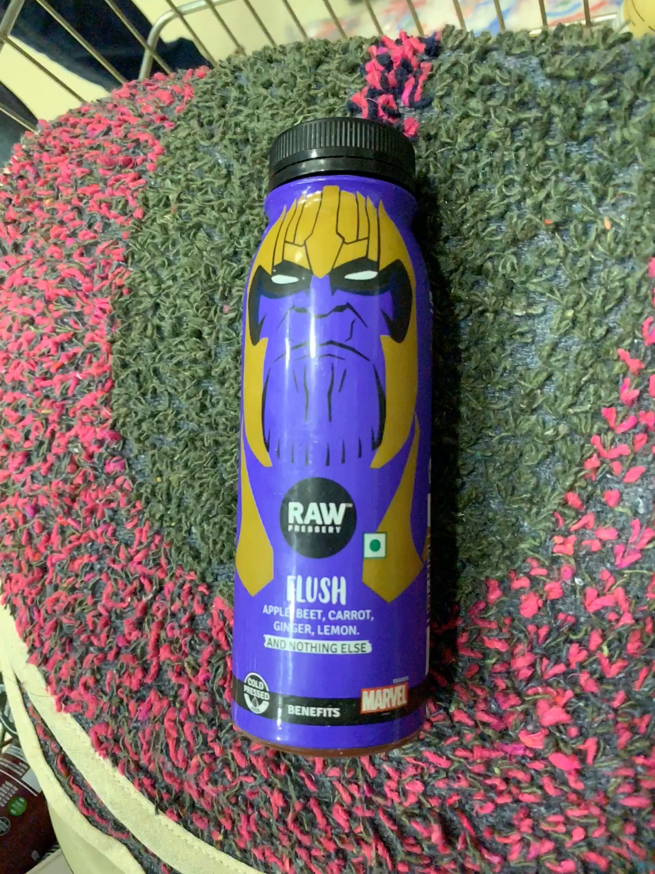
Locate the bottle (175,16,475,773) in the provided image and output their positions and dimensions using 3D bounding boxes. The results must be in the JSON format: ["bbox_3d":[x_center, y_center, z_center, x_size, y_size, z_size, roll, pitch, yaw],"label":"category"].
[{"bbox_3d":[0.004,-0.012,0.184,0.060,0.050,0.170,2,85,17],"label":"bottle"}]
